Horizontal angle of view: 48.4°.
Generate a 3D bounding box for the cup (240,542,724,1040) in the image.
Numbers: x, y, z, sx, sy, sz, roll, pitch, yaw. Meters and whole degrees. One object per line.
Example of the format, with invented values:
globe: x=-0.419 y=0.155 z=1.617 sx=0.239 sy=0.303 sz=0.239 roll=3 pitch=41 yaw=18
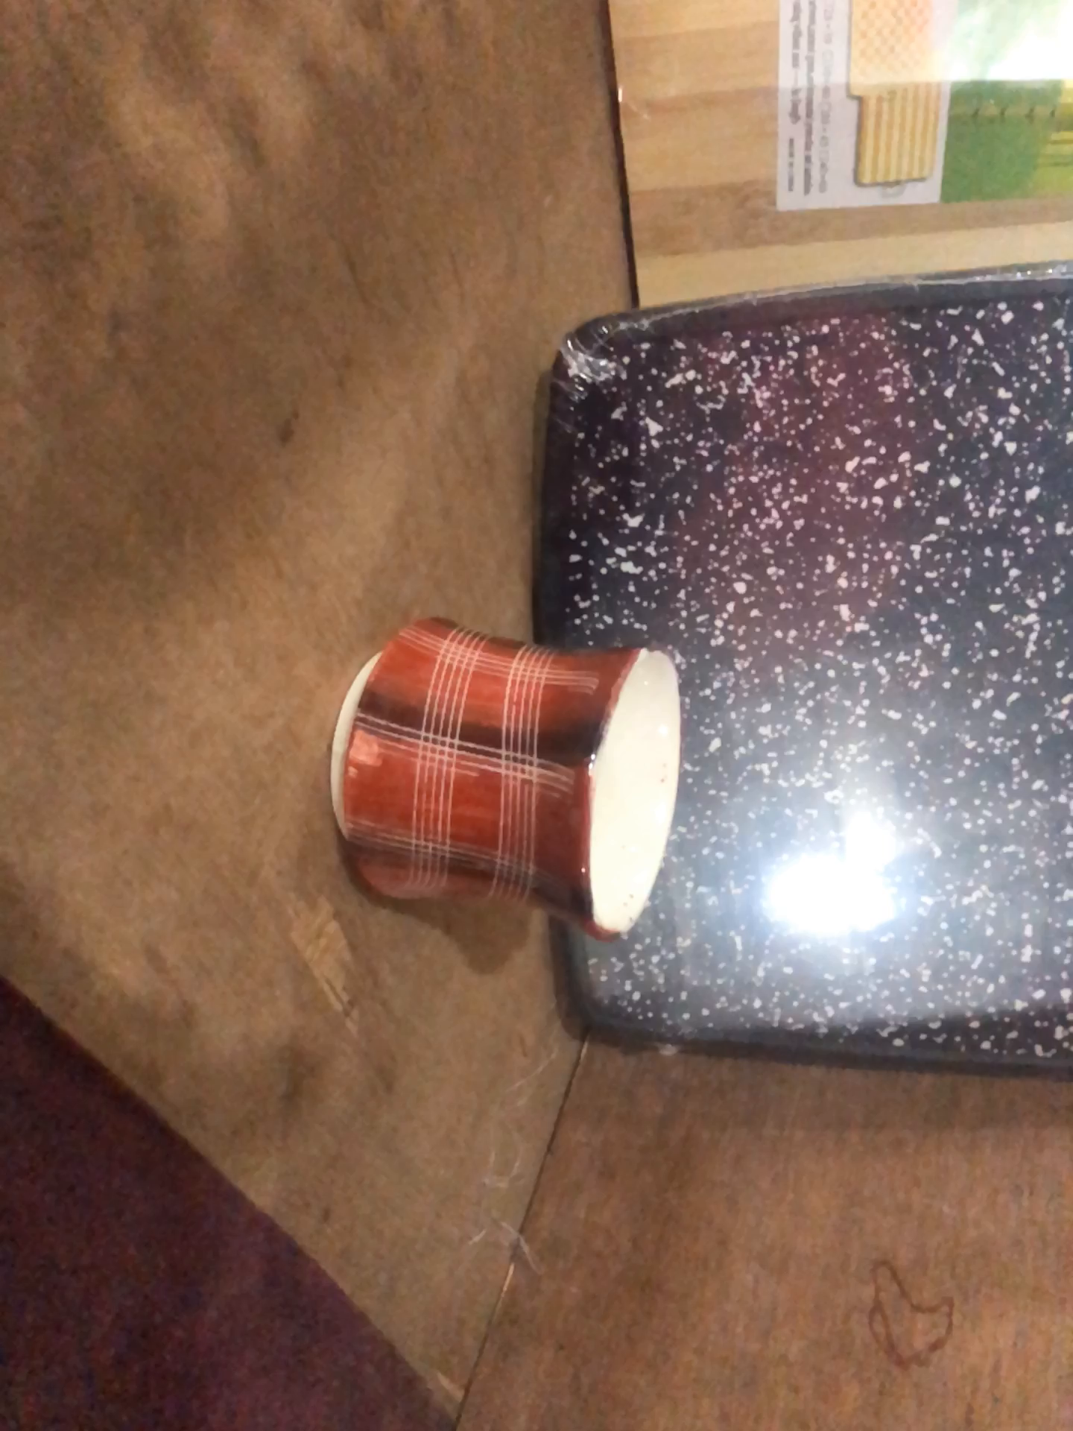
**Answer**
cup: x=-0.004 y=0.018 z=0.250 sx=0.091 sy=0.060 sz=0.060 roll=63 pitch=40 yaw=-53
